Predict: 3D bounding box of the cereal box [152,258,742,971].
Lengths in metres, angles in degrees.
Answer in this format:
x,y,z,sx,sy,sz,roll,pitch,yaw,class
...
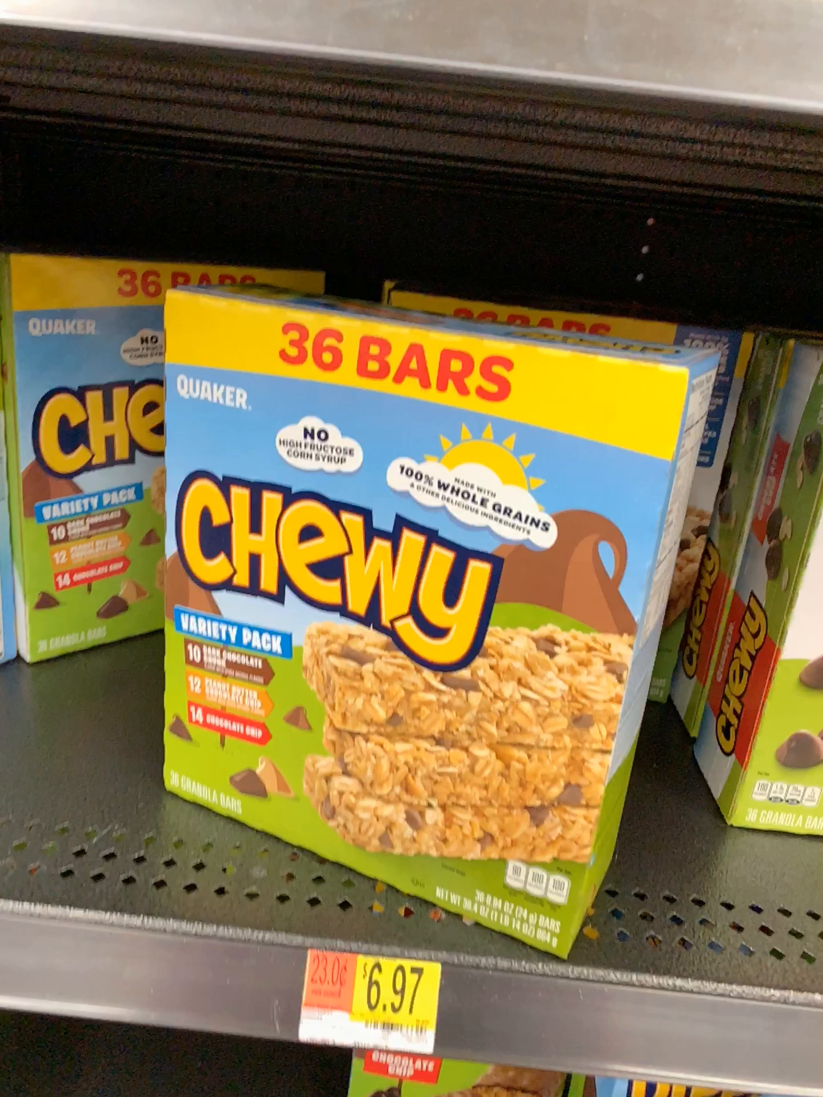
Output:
x,y,z,sx,sy,sz,roll,pitch,yaw,class
-0.001,0.015,0.344,0.200,0.229,0.070,15,21,22,cereal box
